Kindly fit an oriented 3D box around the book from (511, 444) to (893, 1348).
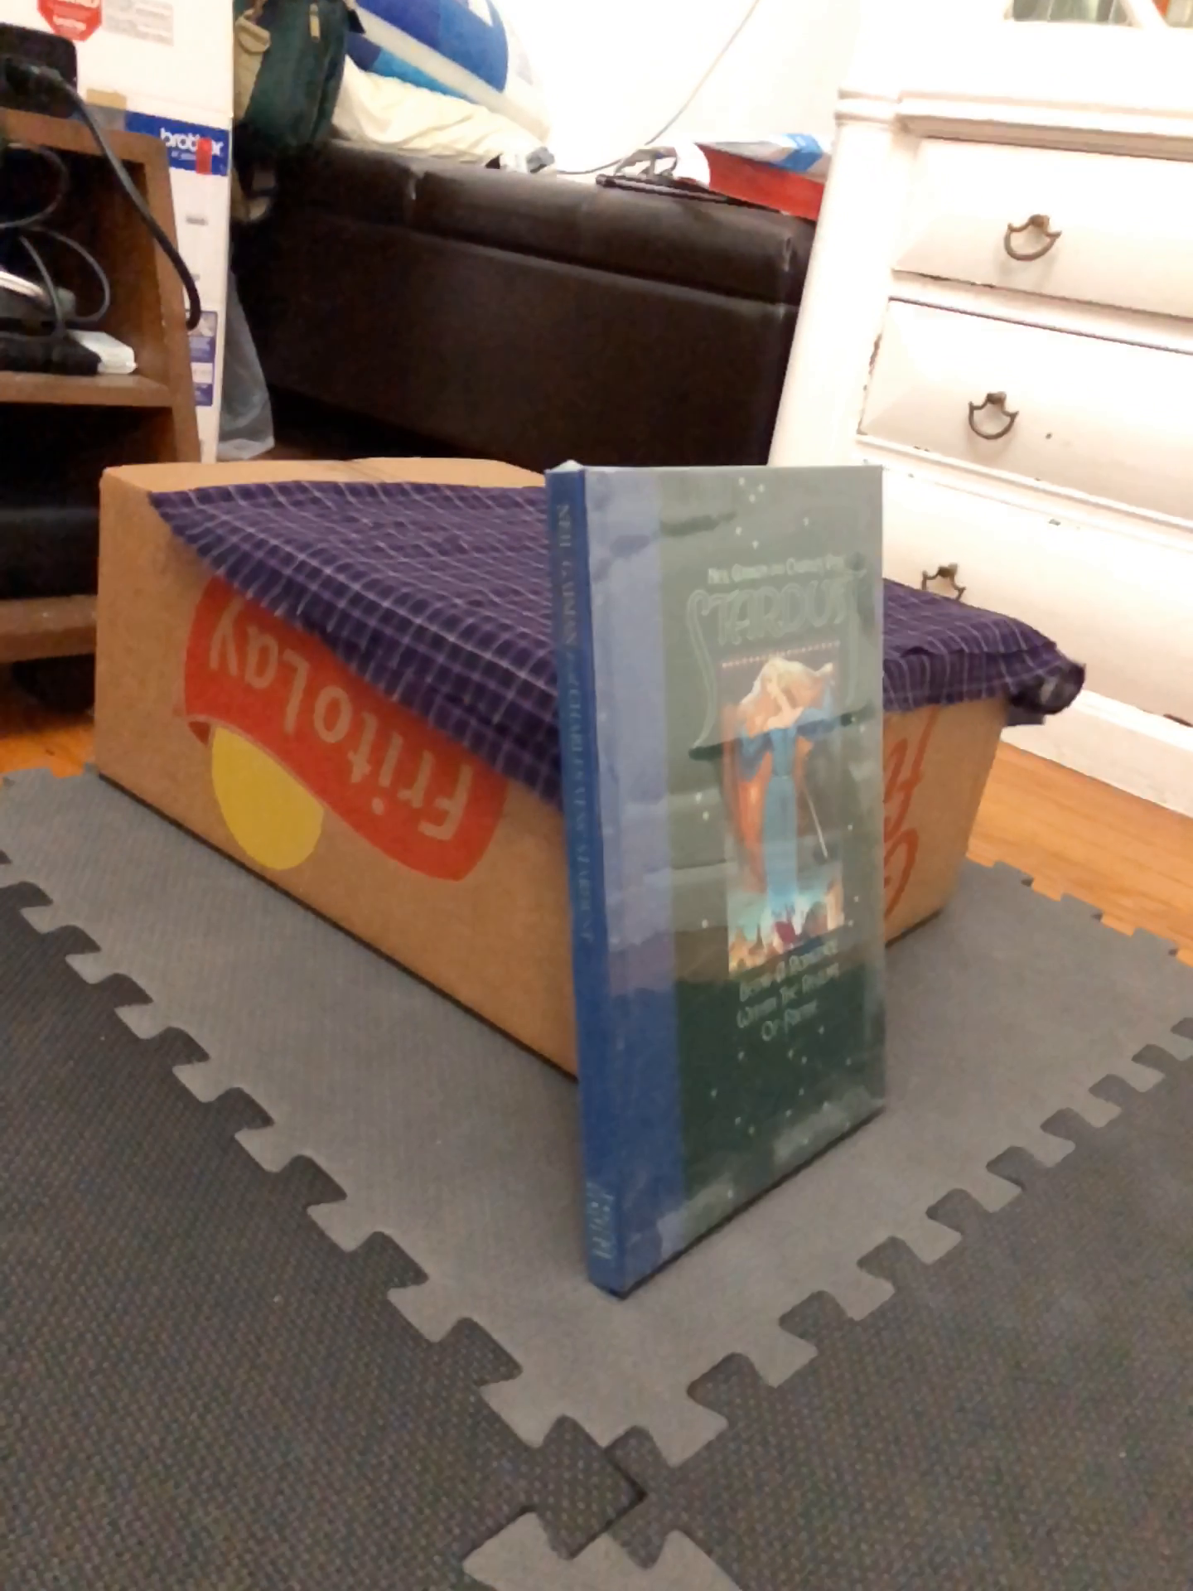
[{"bbox_3d":[0.059,0.025,0.543,0.020,0.329,0.211,7,16,41],"label":"book"}]
